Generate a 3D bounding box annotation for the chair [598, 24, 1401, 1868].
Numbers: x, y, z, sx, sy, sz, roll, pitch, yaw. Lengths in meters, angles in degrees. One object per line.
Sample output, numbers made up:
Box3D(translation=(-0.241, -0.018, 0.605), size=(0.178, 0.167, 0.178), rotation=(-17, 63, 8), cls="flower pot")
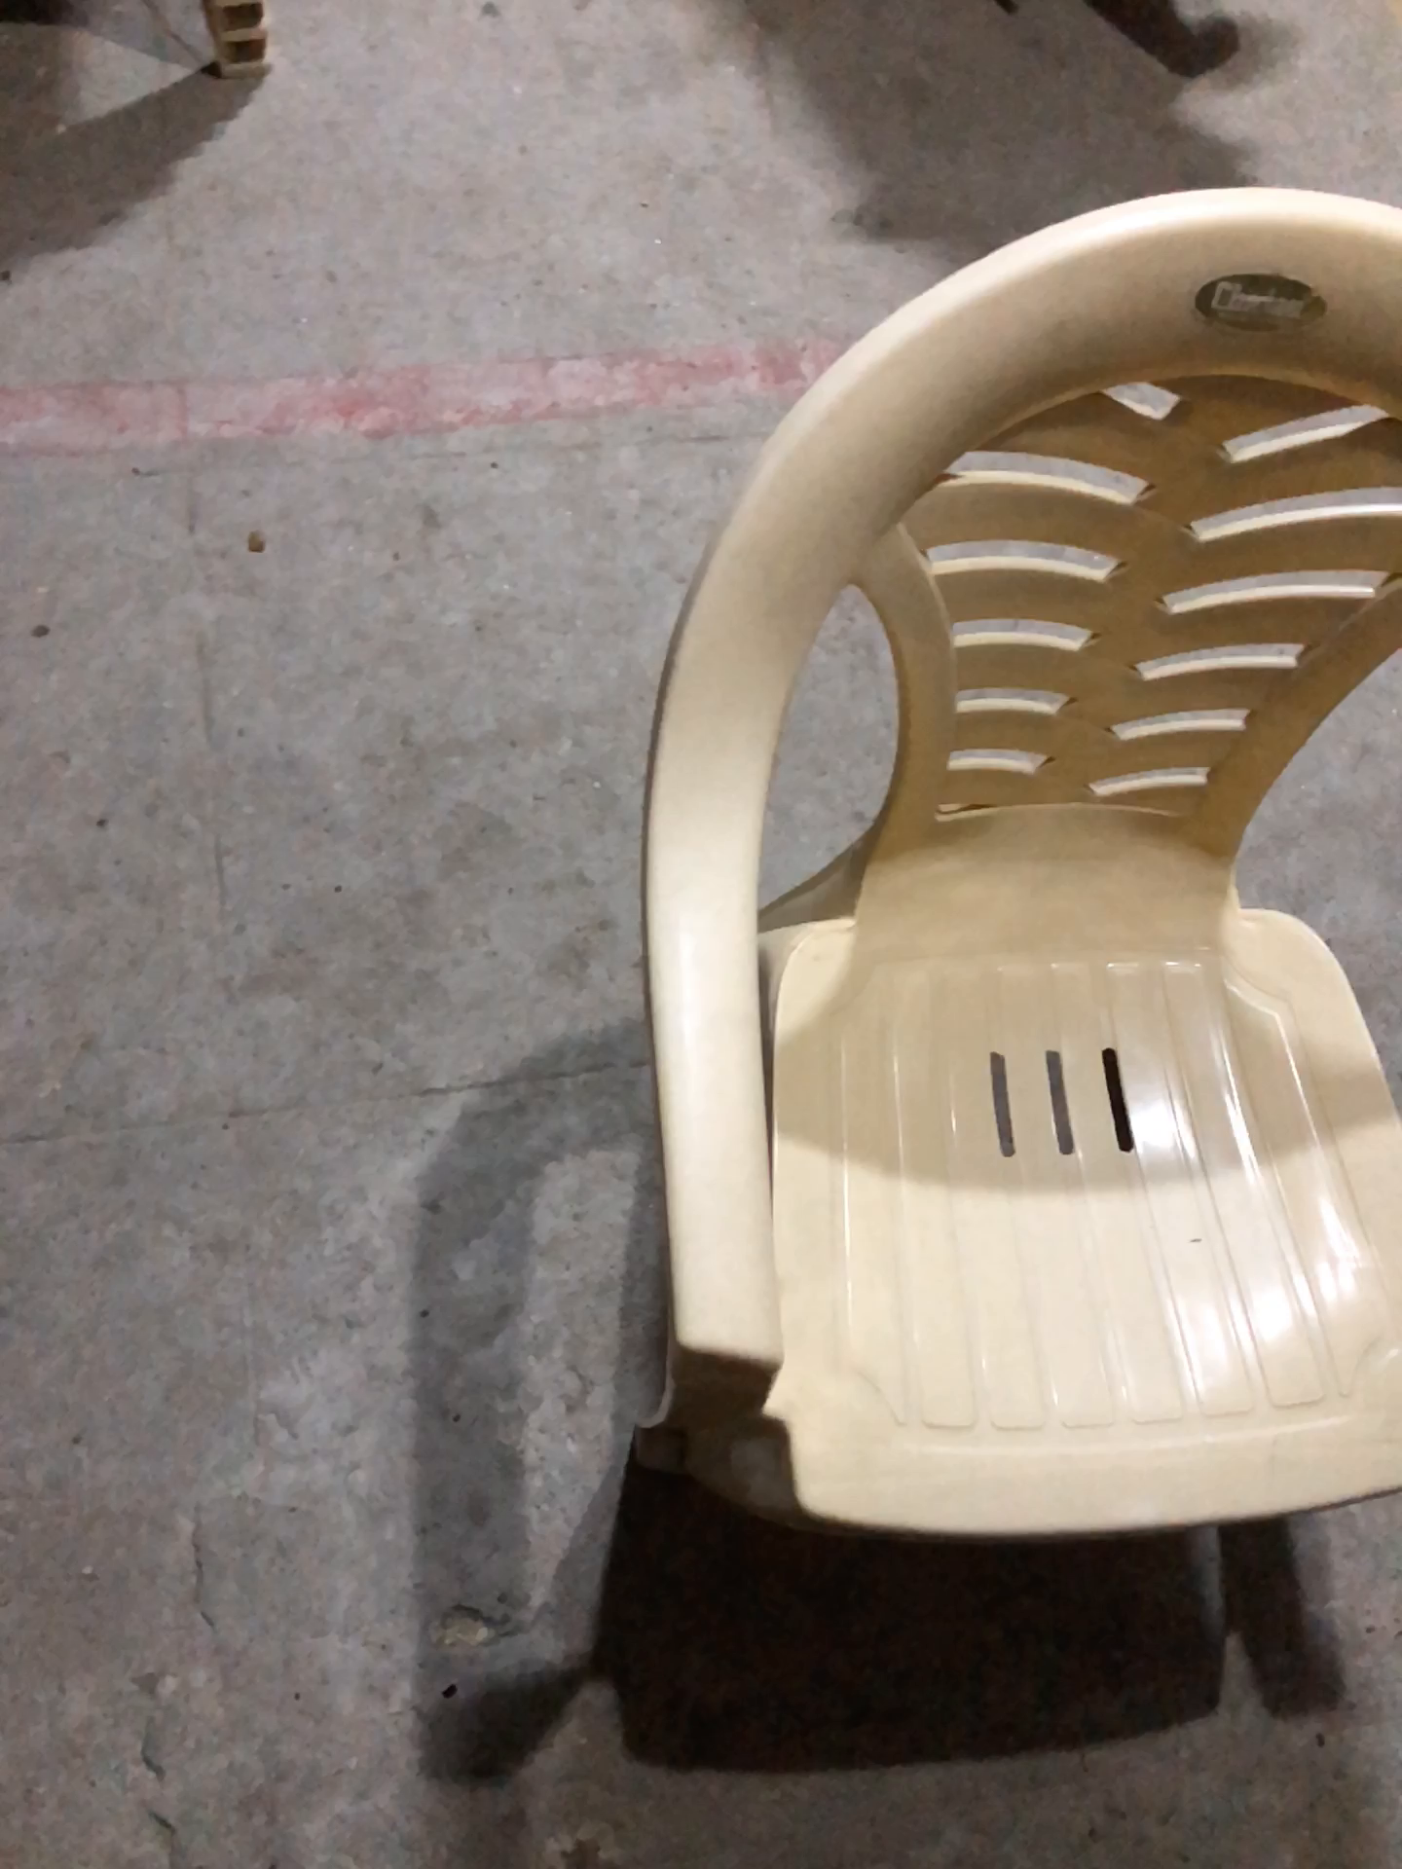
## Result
Box3D(translation=(0.243, 0.080, 0.896), size=(0.560, 0.868, 0.561), rotation=(1, 75, -6), cls="chair")
